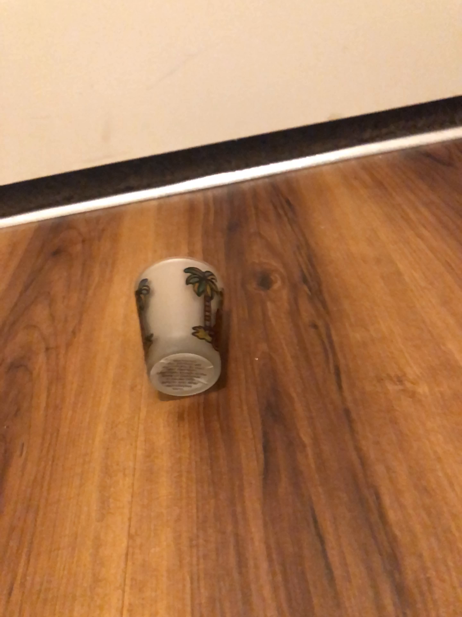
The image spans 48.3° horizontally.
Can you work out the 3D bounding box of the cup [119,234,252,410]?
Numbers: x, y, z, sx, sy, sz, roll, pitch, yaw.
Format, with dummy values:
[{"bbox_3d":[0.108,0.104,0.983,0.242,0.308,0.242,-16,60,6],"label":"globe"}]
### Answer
[{"bbox_3d":[-0.022,0.005,0.257,0.050,0.045,0.070,-11,38,2],"label":"cup"}]
